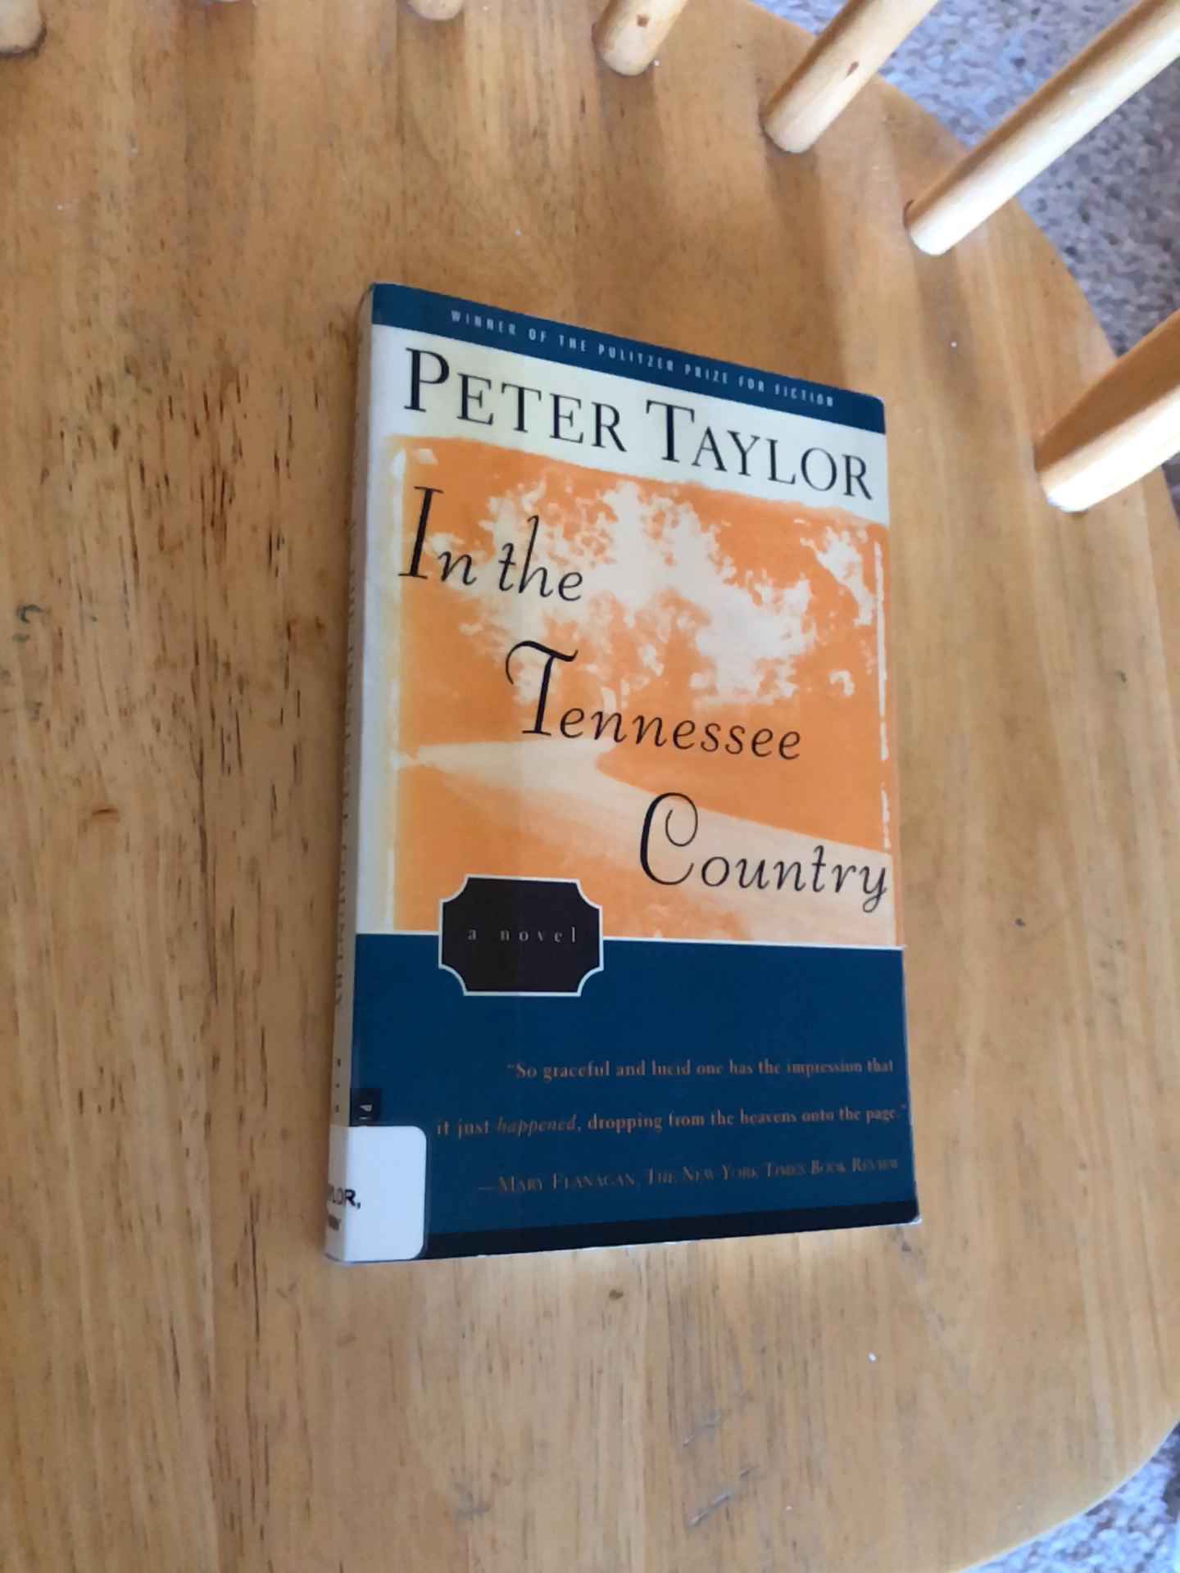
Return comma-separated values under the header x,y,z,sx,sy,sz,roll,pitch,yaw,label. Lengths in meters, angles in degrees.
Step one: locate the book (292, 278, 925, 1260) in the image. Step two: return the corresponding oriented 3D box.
x,y,z,sx,sy,sz,roll,pitch,yaw,label
0.008,-0.003,0.299,0.137,0.025,0.200,5,78,-23,book
